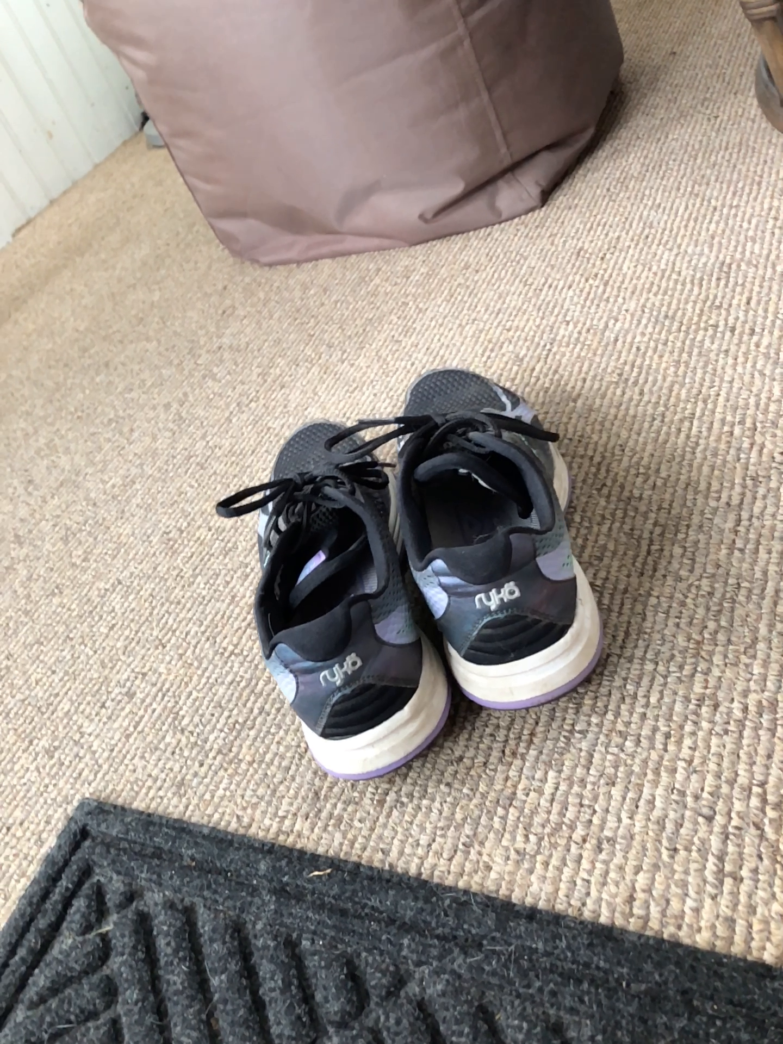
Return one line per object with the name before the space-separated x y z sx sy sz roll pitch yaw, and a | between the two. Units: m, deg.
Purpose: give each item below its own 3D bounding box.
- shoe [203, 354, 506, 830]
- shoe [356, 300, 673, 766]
shoe | -0.034 0.023 0.507 0.110 0.103 0.258 -22 39 3
shoe | 0.057 -0.011 0.499 0.102 0.103 0.258 -19 39 6
